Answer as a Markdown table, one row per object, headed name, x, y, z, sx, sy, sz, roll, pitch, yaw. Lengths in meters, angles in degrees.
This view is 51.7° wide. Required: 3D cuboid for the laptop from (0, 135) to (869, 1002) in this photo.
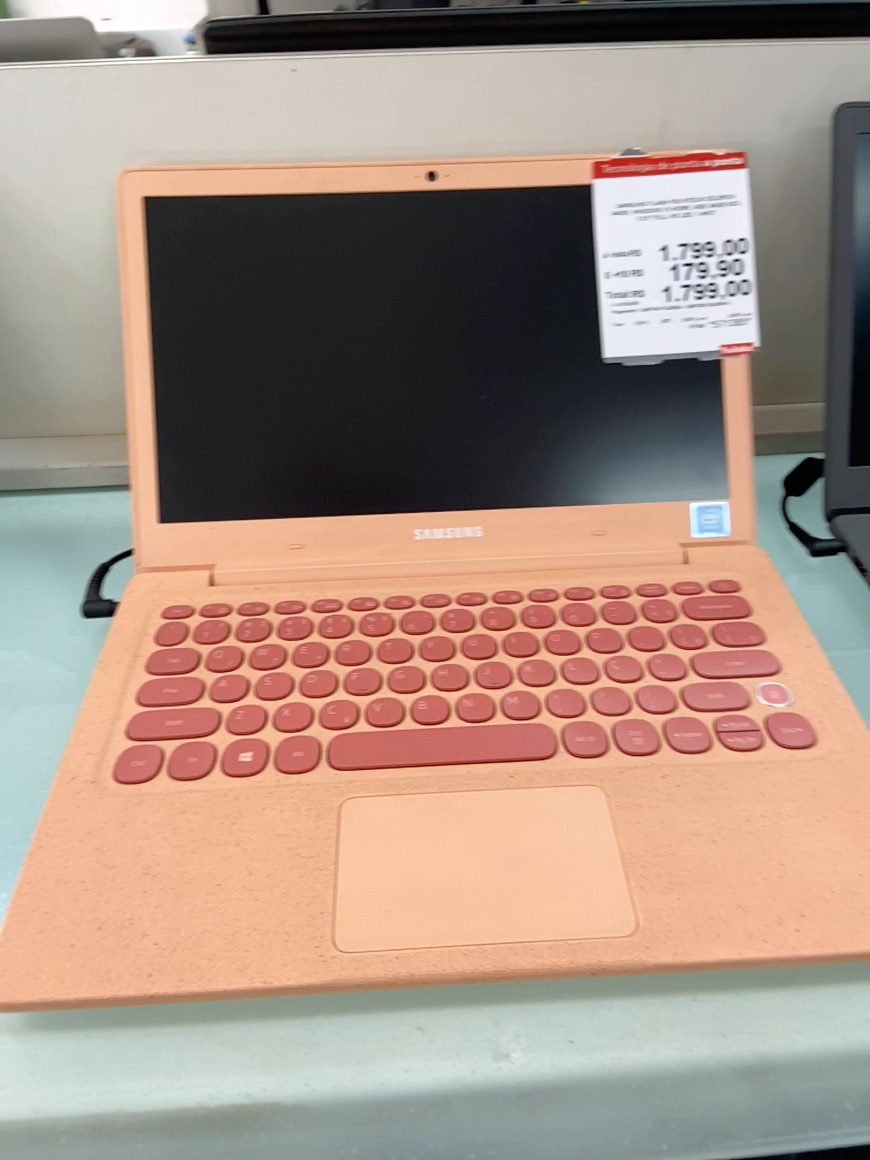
| name | x | y | z | sx | sy | sz | roll | pitch | yaw |
| --- | --- | --- | --- | --- | --- | --- | --- | --- | --- |
| laptop | 0.010 | -0.051 | 0.384 | 0.329 | 0.160 | 0.361 | -3 | 39 | -1 |
